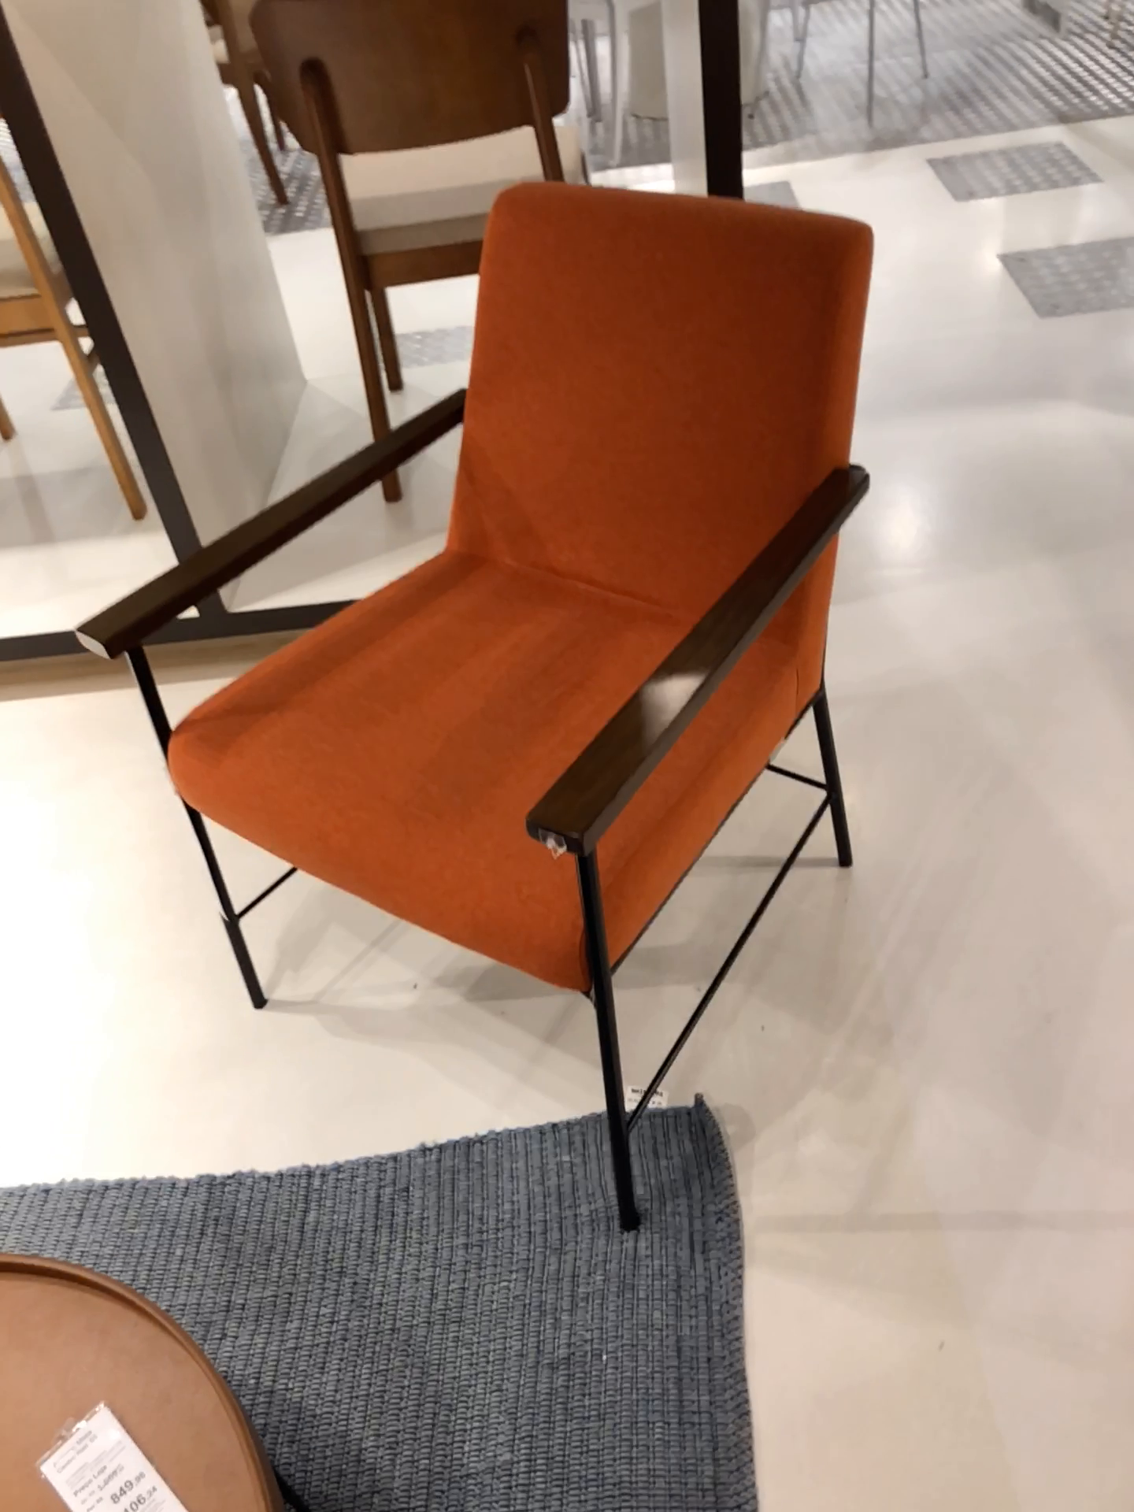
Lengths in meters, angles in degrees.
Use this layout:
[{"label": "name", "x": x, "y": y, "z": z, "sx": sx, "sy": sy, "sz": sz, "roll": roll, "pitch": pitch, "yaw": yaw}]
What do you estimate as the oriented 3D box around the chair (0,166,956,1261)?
[{"label": "chair", "x": -0.048, "y": -0.088, "z": 1.398, "sx": 0.652, "sy": 0.824, "sz": 0.703, "roll": 21, "pitch": 50, "yaw": 31}]
